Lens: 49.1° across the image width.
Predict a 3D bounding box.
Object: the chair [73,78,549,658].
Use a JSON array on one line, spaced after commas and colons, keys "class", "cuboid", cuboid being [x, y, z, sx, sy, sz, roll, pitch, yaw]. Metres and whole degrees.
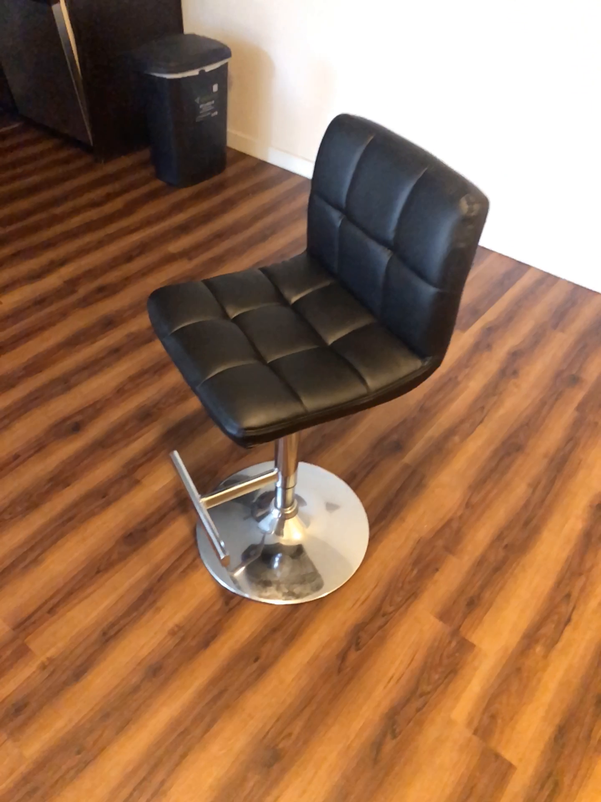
[{"class": "chair", "cuboid": [-0.028, -0.047, 1.361, 0.569, 0.952, 0.536, -18, 47, -21]}]
